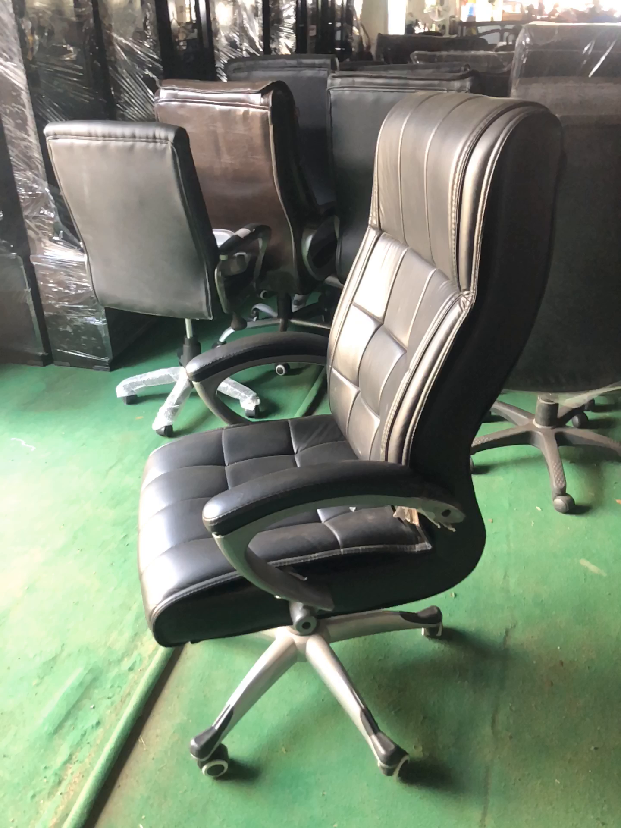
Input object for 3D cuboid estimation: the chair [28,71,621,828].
[{"bbox_3d":[0.058,0.041,1.358,0.831,1.224,0.813,-9,31,-12],"label":"chair"}]
